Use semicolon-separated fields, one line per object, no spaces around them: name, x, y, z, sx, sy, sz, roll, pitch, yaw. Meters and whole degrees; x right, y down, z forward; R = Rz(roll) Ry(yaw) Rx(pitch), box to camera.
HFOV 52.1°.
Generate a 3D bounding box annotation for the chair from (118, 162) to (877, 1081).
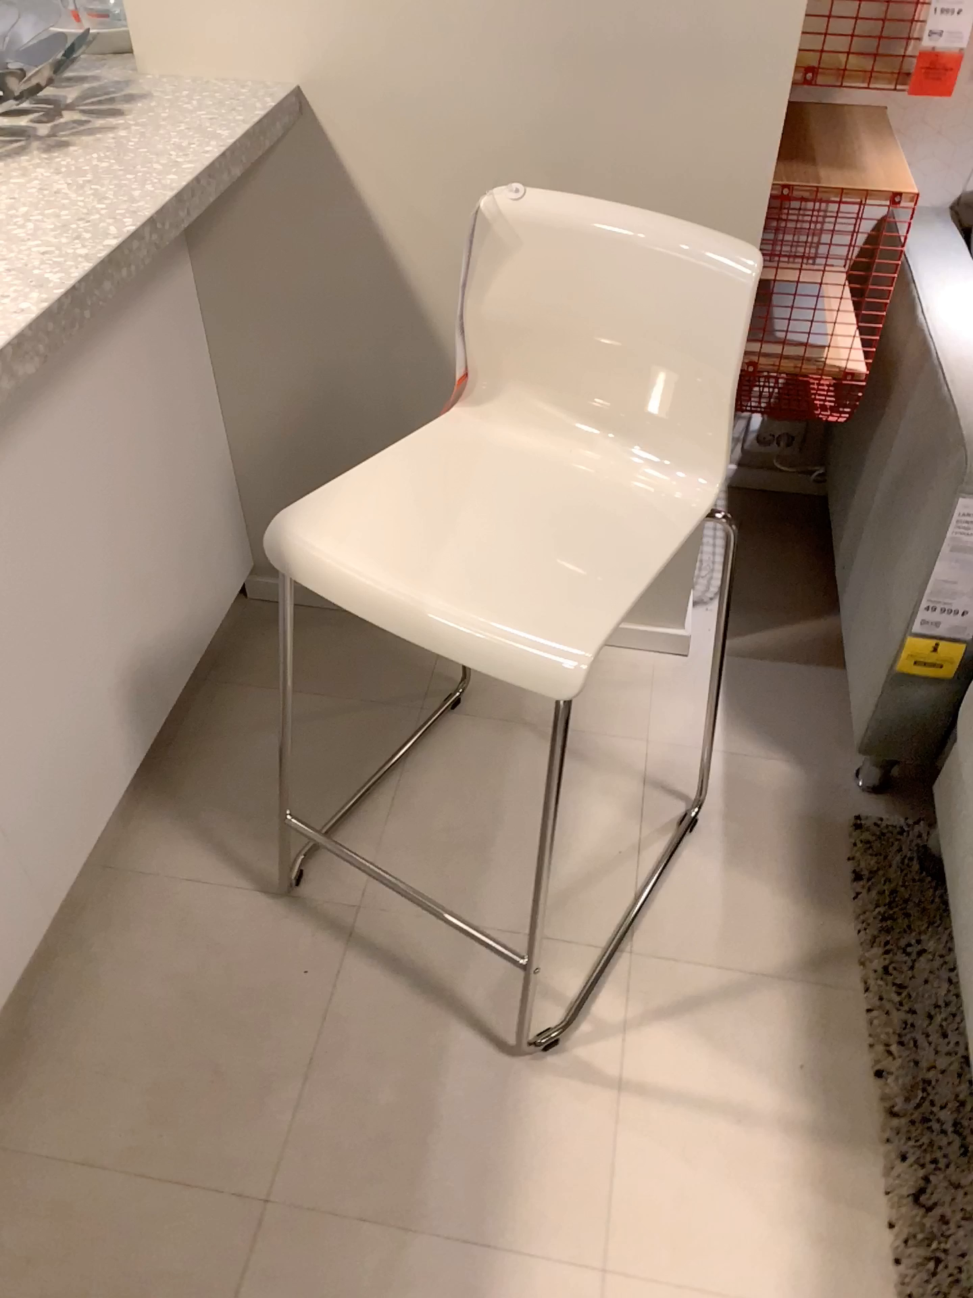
chair;0.028;-0.016;1.267;0.511;0.905;0.542;27;49;25
